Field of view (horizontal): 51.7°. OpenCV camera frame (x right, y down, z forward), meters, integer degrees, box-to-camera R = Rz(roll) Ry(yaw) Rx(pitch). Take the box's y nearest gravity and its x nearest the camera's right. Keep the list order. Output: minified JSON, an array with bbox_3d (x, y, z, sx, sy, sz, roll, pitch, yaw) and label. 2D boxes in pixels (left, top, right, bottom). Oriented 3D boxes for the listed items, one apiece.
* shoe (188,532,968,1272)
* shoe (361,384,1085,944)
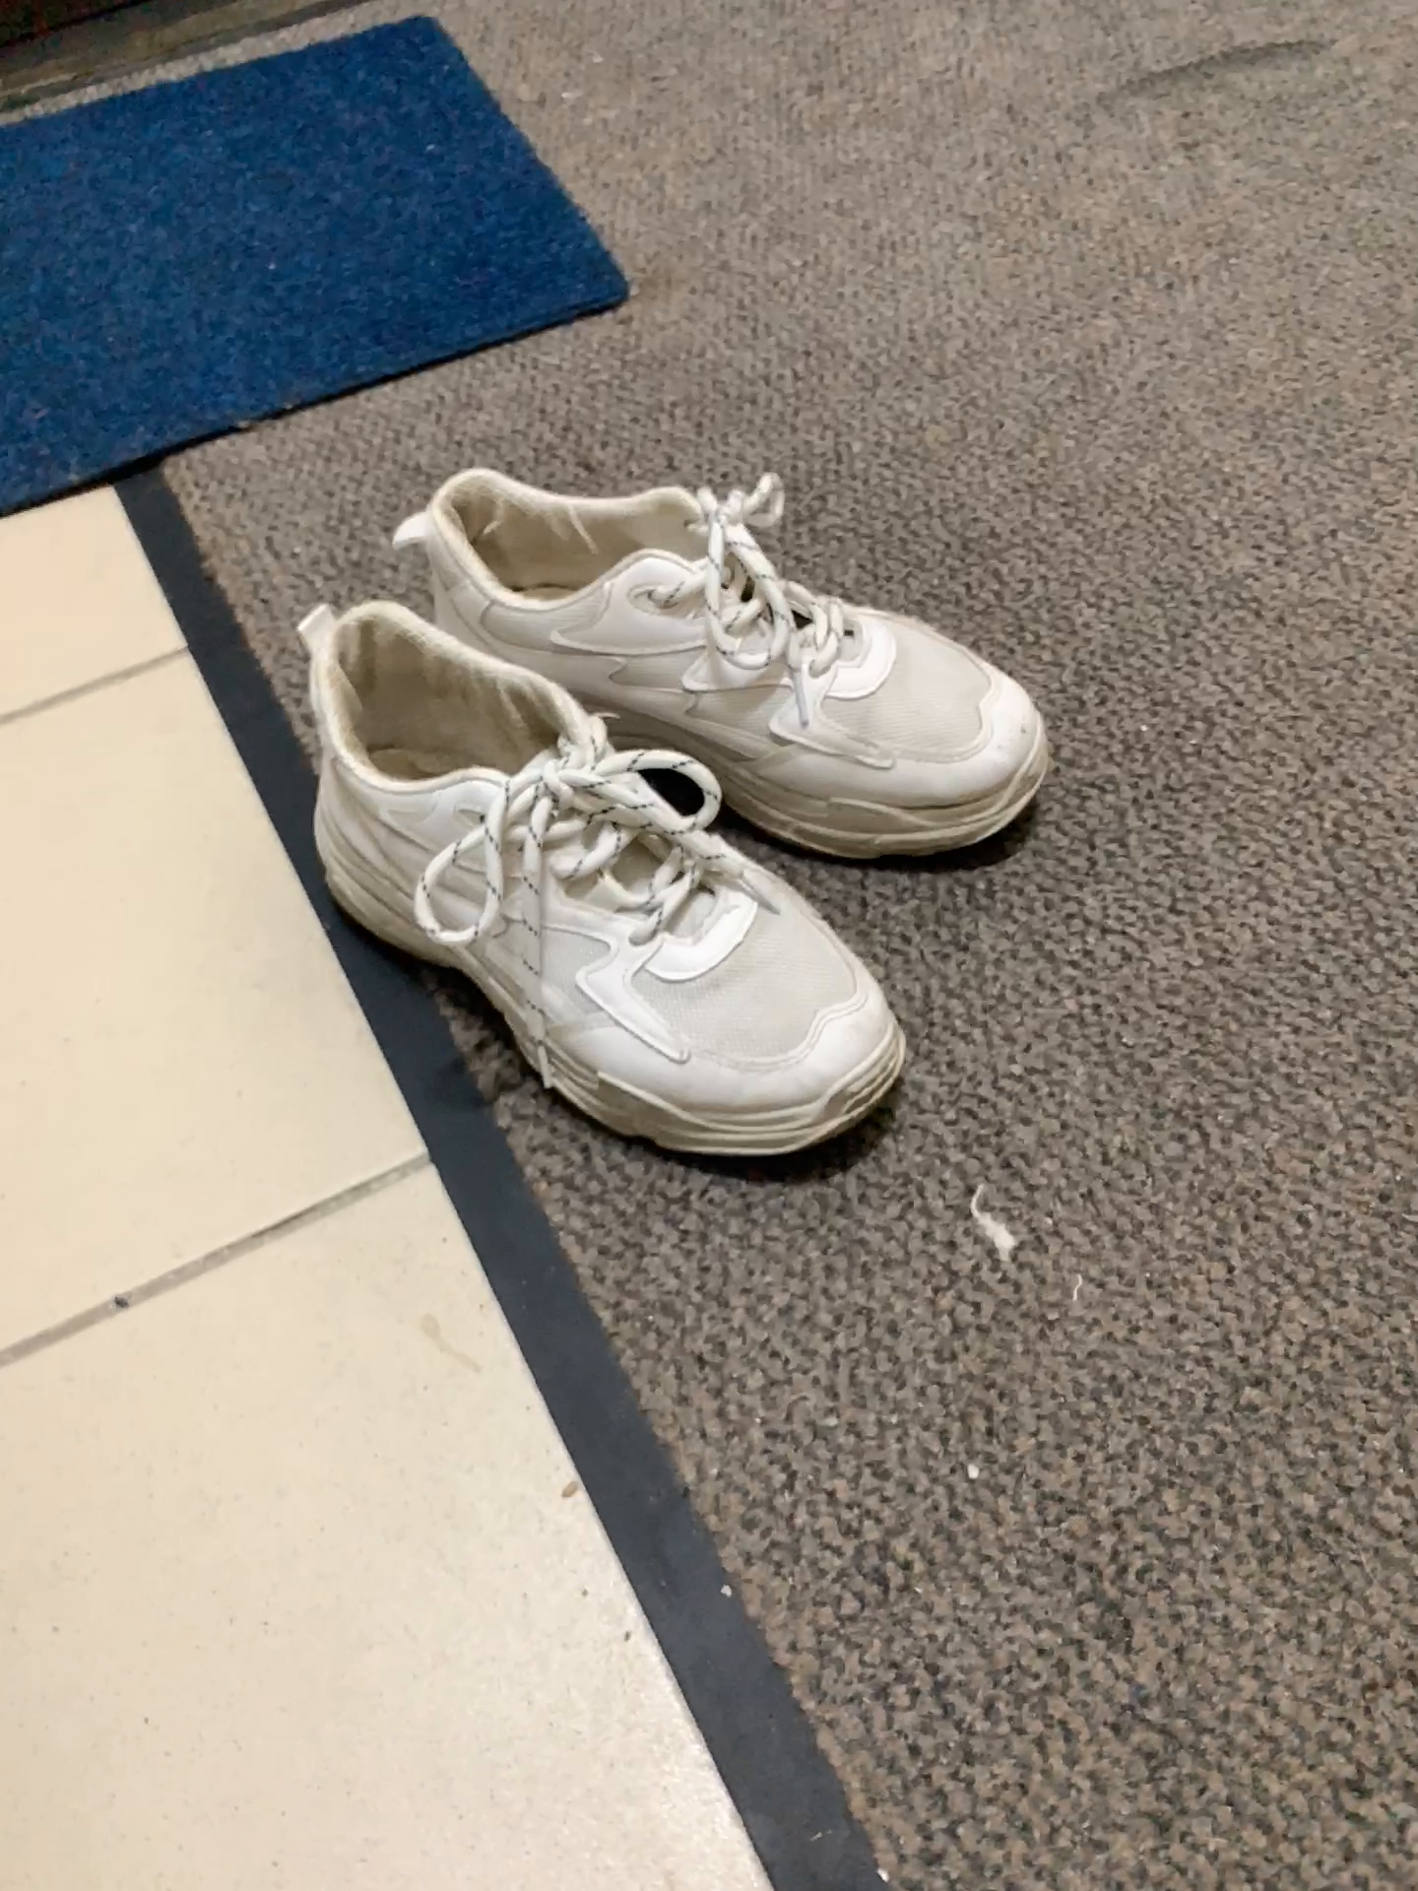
[{"bbox_3d":[-0.041,-0.017,0.502,0.230,0.140,0.100,31,64,24],"label":"shoe"},{"bbox_3d":[0.009,-0.108,0.562,0.230,0.140,0.100,15,58,15],"label":"shoe"}]
